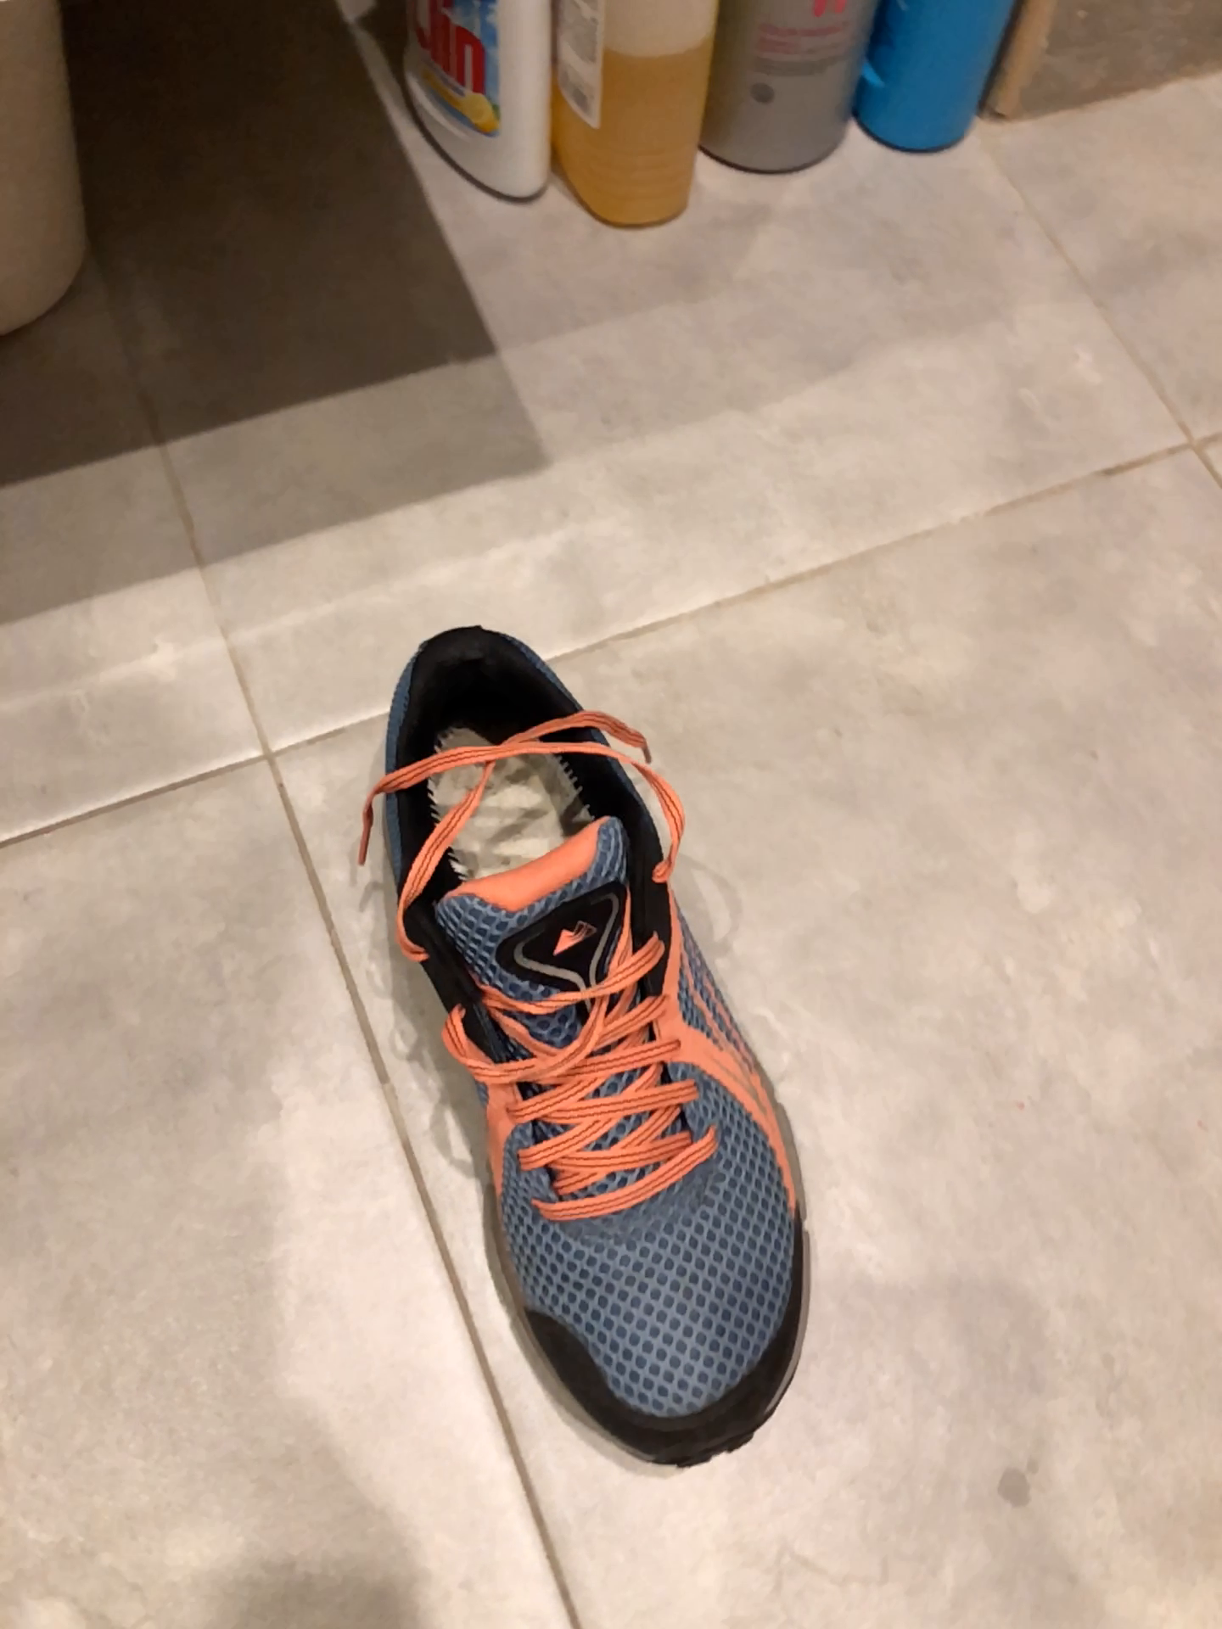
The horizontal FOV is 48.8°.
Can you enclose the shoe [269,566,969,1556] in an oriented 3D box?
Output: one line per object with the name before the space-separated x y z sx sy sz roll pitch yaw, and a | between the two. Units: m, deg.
shoe | -0.009 0.065 0.410 0.110 0.090 0.251 -18 69 -11
